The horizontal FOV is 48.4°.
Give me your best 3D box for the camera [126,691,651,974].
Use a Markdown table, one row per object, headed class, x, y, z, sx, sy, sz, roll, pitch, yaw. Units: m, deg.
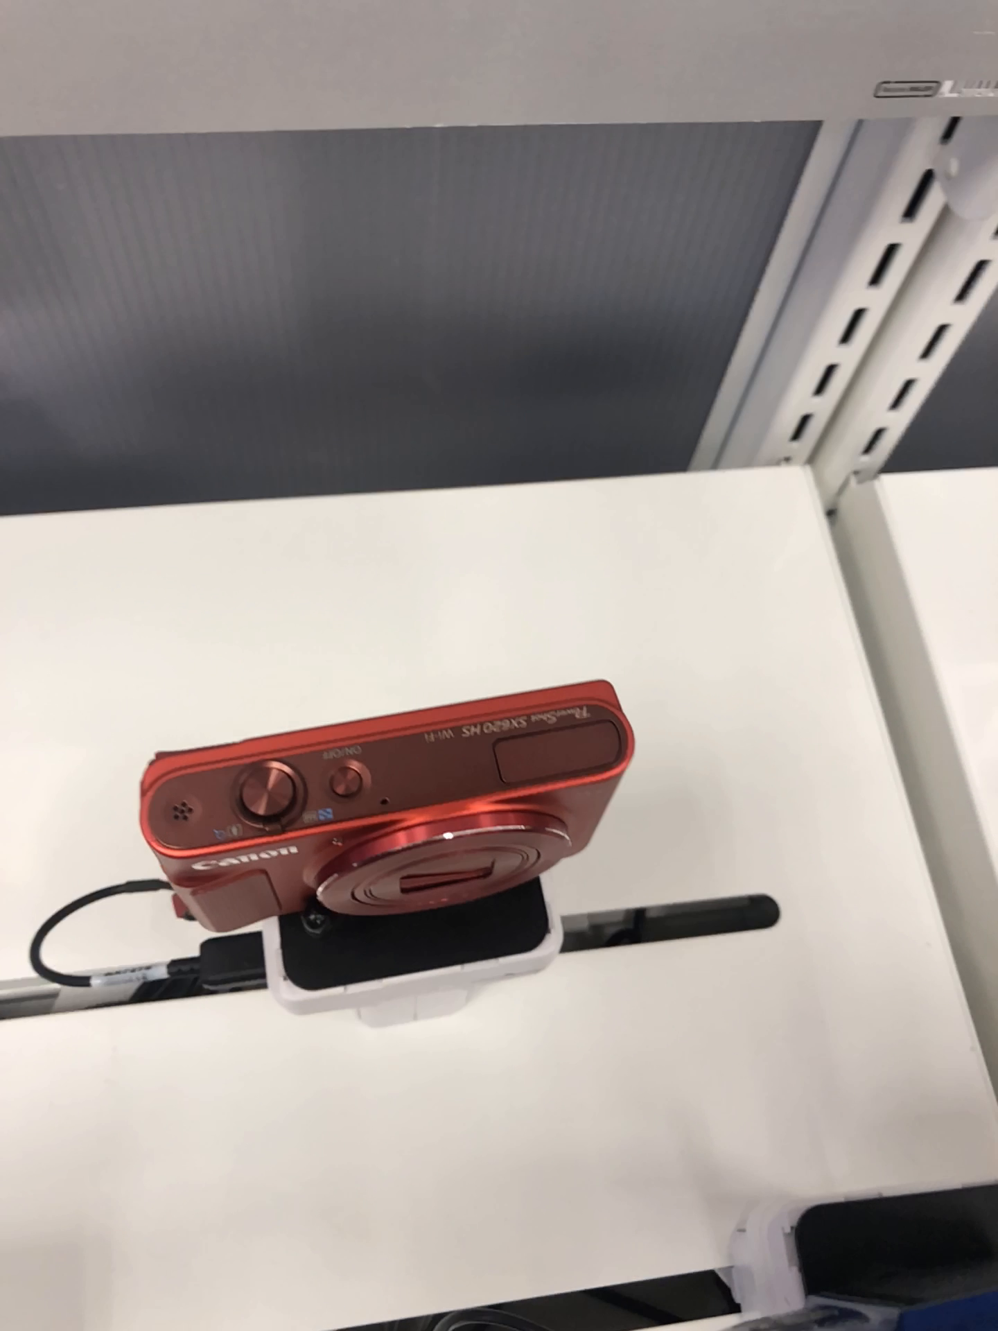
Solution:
| class | x | y | z | sx | sy | sz | roll | pitch | yaw |
| --- | --- | --- | --- | --- | --- | --- | --- | --- | --- |
| camera | -0.023 | 0.037 | 0.234 | 0.096 | 0.053 | 0.028 | -9 | 65 | -9 |
